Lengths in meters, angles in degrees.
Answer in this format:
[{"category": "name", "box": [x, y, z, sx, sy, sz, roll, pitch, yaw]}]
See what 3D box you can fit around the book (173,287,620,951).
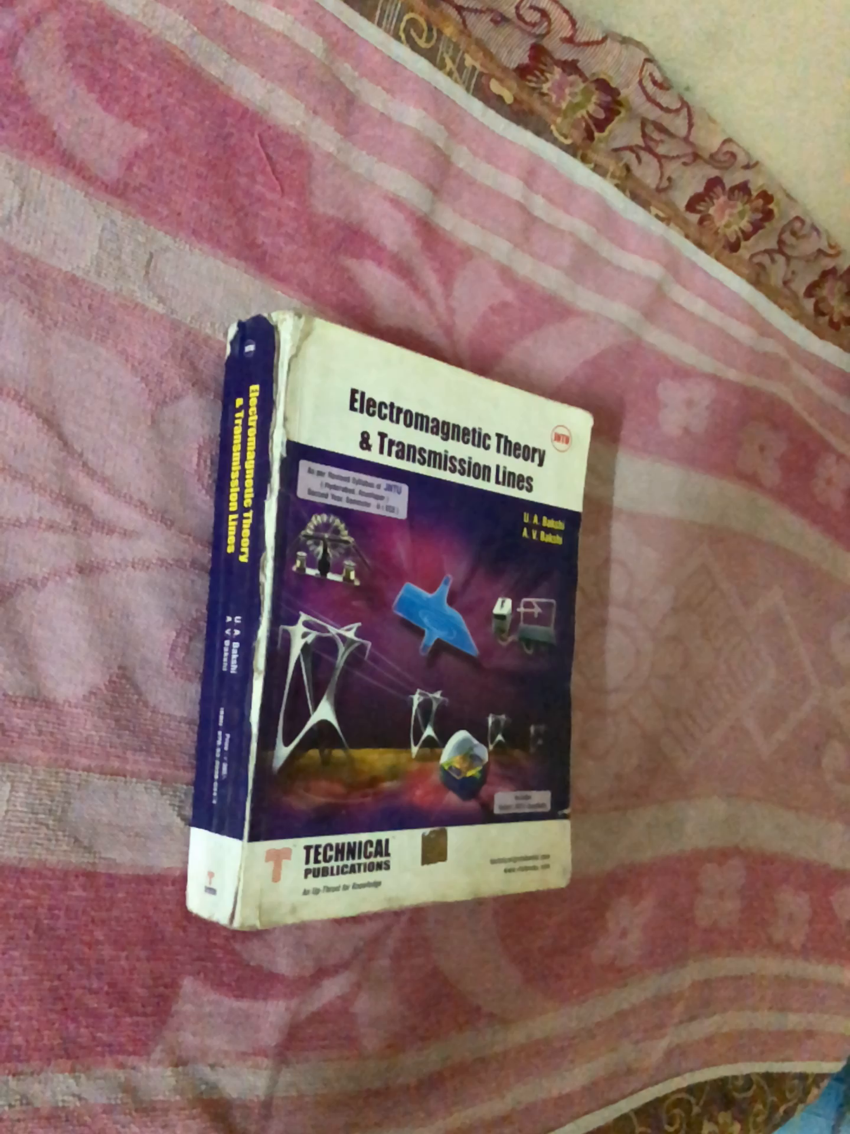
[{"category": "book", "box": [-0.001, 0.027, 0.441, 0.201, 0.060, 0.250, 8, 82, -39]}]
